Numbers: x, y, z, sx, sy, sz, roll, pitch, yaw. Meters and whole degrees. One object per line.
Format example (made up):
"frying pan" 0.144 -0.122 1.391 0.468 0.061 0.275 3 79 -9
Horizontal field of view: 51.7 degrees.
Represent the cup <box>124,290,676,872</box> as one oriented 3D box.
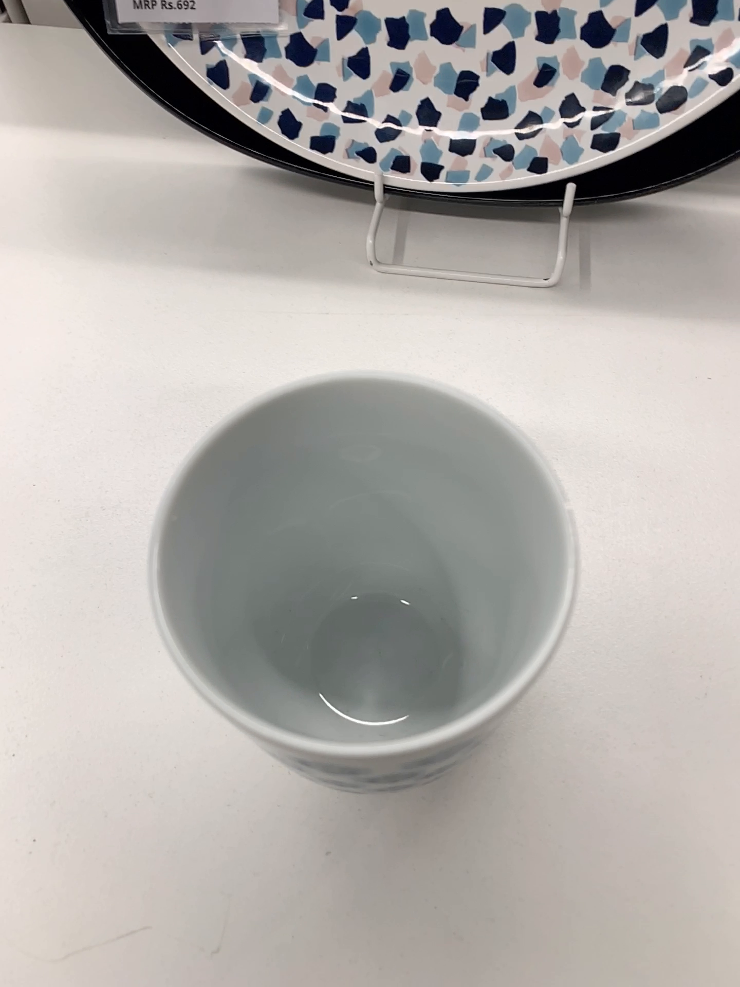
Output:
"cup" 0.001 0.022 0.162 0.070 0.080 0.080 -16 60 -8
